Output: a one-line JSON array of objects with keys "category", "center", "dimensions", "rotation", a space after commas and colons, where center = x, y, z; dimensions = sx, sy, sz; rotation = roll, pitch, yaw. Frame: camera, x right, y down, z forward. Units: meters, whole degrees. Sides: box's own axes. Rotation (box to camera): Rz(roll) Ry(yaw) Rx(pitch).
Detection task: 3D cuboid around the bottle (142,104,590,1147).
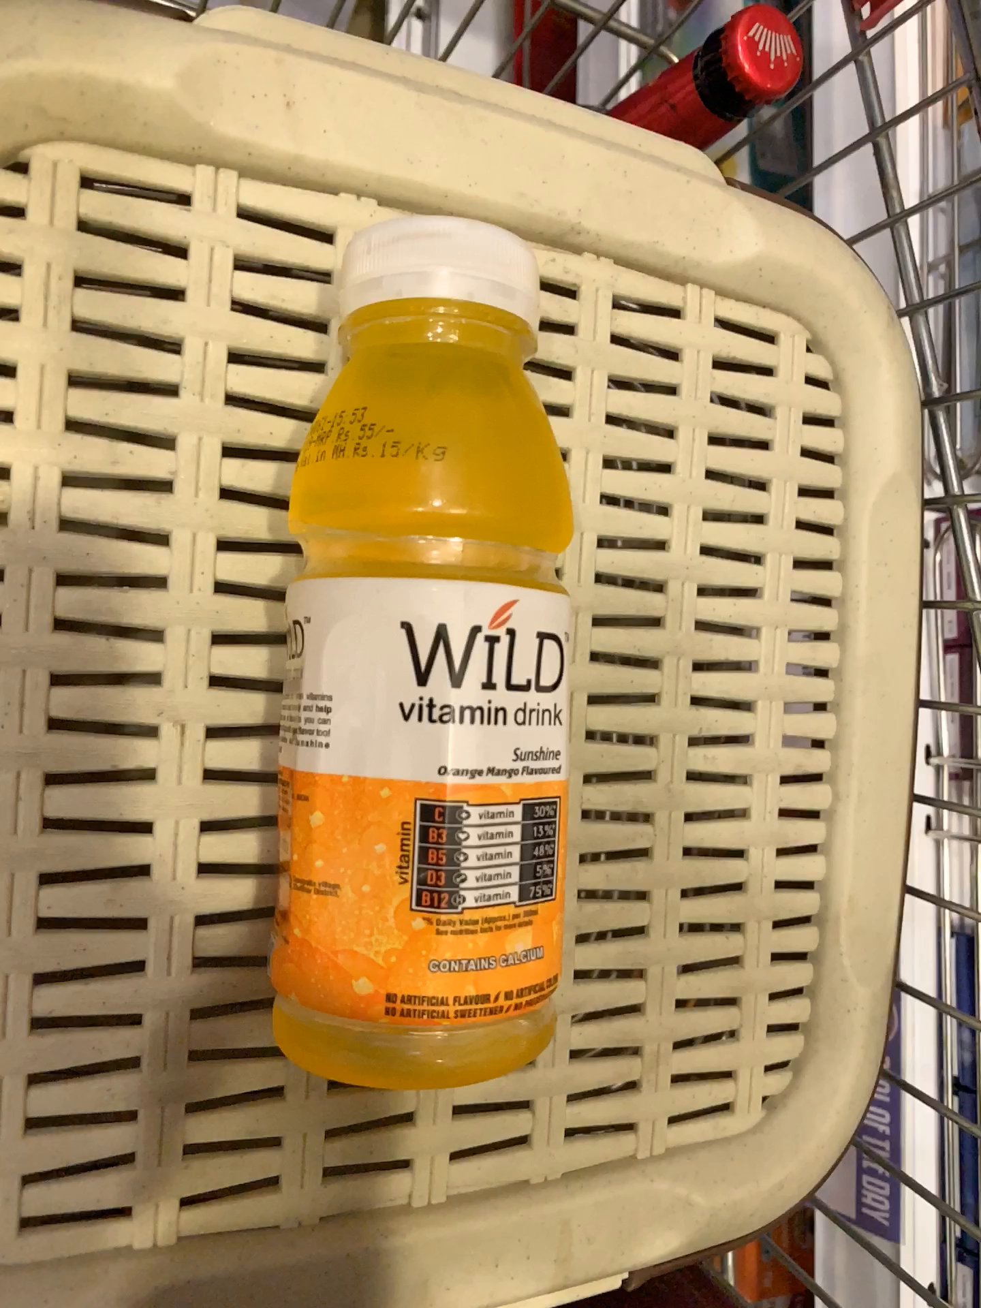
[{"category": "bottle", "center": [-0.027, -0.004, 0.208], "dimensions": [0.060, 0.060, 0.170], "rotation": [2, 91, -38]}]
